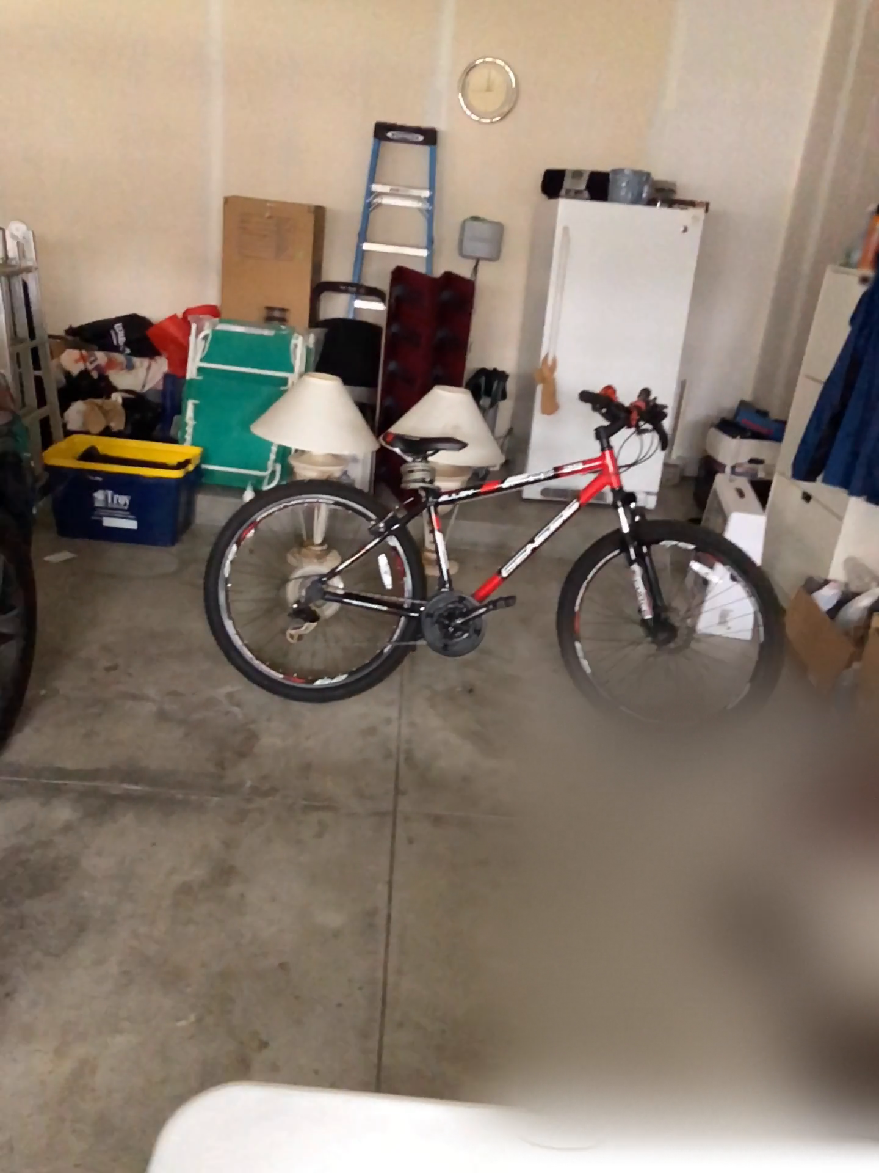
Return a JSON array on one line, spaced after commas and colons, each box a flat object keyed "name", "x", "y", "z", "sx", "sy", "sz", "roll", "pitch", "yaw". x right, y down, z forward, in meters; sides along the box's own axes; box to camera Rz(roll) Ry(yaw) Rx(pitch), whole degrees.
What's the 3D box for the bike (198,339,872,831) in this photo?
[{"name": "bike", "x": 0.144, "y": -0.058, "z": 2.855, "sx": 1.668, "sy": 1.054, "sz": 0.591, "roll": 8, "pitch": 20, "yaw": 6}]
